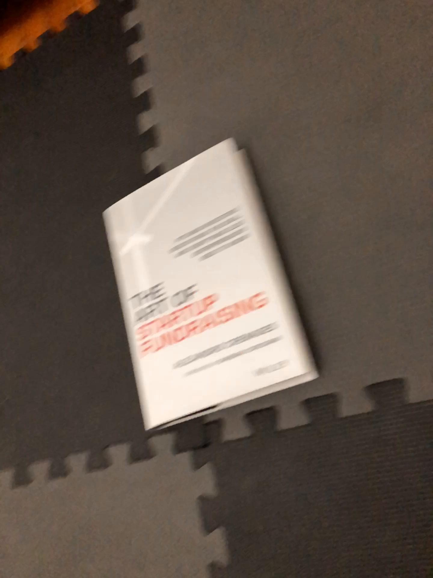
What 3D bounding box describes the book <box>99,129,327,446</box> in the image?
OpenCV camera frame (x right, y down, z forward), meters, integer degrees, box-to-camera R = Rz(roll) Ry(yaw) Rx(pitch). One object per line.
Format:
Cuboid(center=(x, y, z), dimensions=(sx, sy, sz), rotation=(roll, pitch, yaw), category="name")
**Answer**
Cuboid(center=(-0.019, -0.003, 0.447), dimensions=(0.170, 0.030, 0.251), rotation=(-23, 67, 22), category="book")
